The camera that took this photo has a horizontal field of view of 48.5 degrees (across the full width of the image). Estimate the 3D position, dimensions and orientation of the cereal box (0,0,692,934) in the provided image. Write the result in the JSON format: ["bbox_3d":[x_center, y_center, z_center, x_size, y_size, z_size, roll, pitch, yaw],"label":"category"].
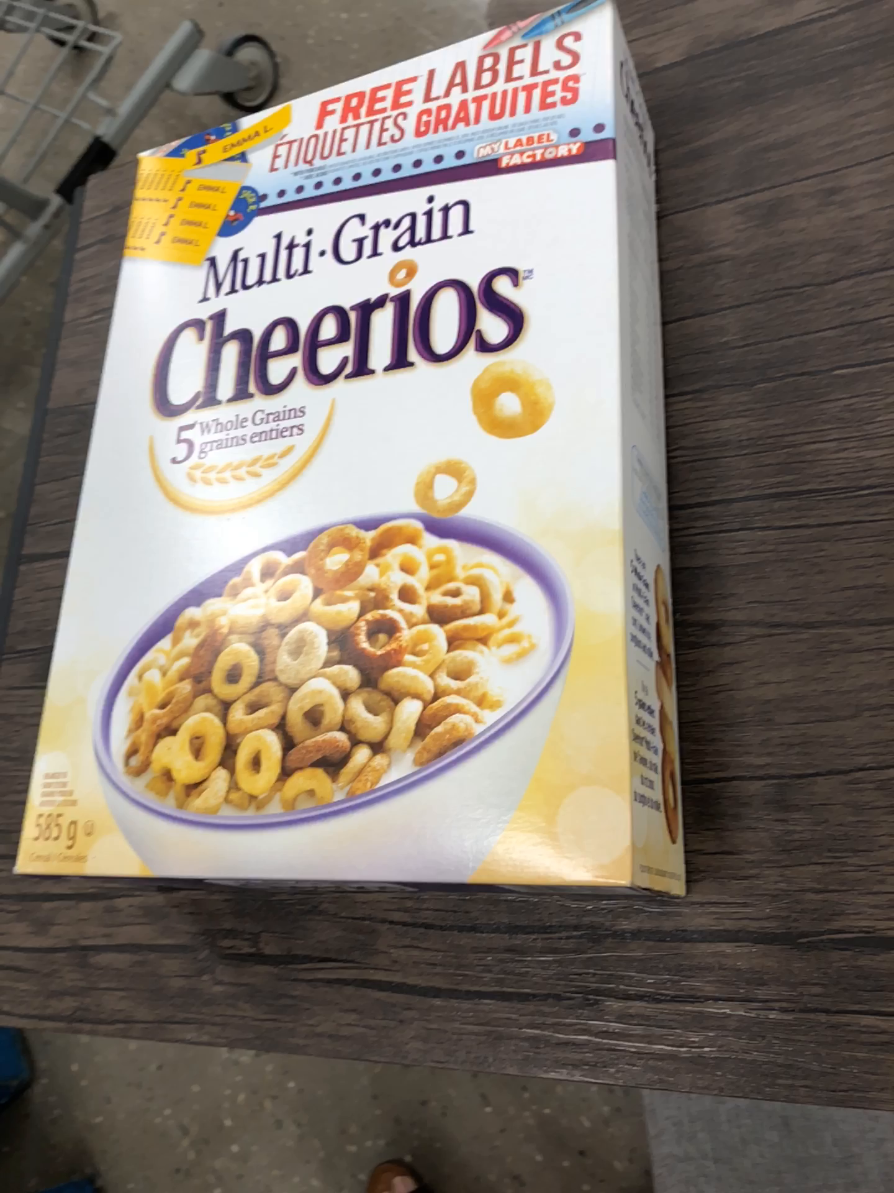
[{"bbox_3d":[-0.039,-0.052,0.398,0.251,0.070,0.340,-5,68,24],"label":"cereal box"}]
